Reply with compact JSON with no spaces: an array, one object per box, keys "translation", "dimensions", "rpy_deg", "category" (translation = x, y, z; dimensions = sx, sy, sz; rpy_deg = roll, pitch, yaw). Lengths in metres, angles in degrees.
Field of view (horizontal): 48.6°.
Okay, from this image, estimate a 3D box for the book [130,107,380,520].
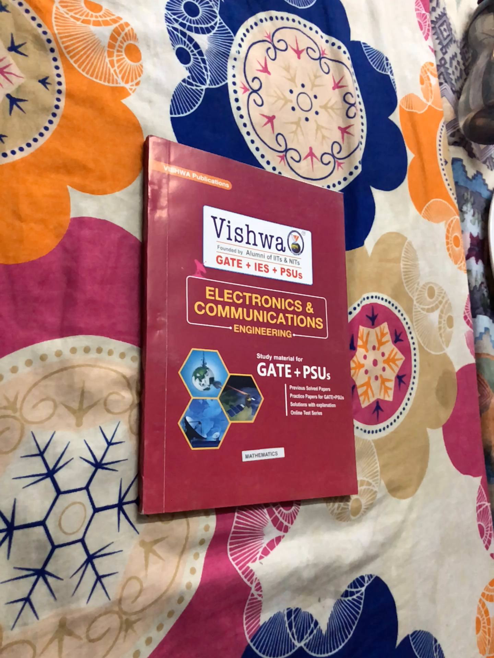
[{"translation":[0.014,-0.009,0.459],"dimensions":[0.217,0.030,0.300],"rpy_deg":[7,75,-34],"category":"book"}]
